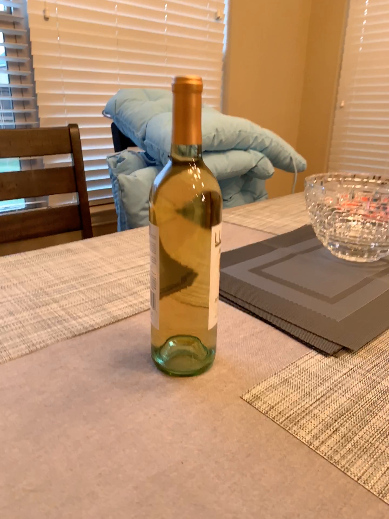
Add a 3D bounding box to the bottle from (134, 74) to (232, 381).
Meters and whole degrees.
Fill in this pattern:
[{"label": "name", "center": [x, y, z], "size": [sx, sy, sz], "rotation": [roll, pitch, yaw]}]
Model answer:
[{"label": "bottle", "center": [-0.013, -0.025, 0.417], "size": [0.080, 0.299, 0.084], "rotation": [1, 20, 0]}]
